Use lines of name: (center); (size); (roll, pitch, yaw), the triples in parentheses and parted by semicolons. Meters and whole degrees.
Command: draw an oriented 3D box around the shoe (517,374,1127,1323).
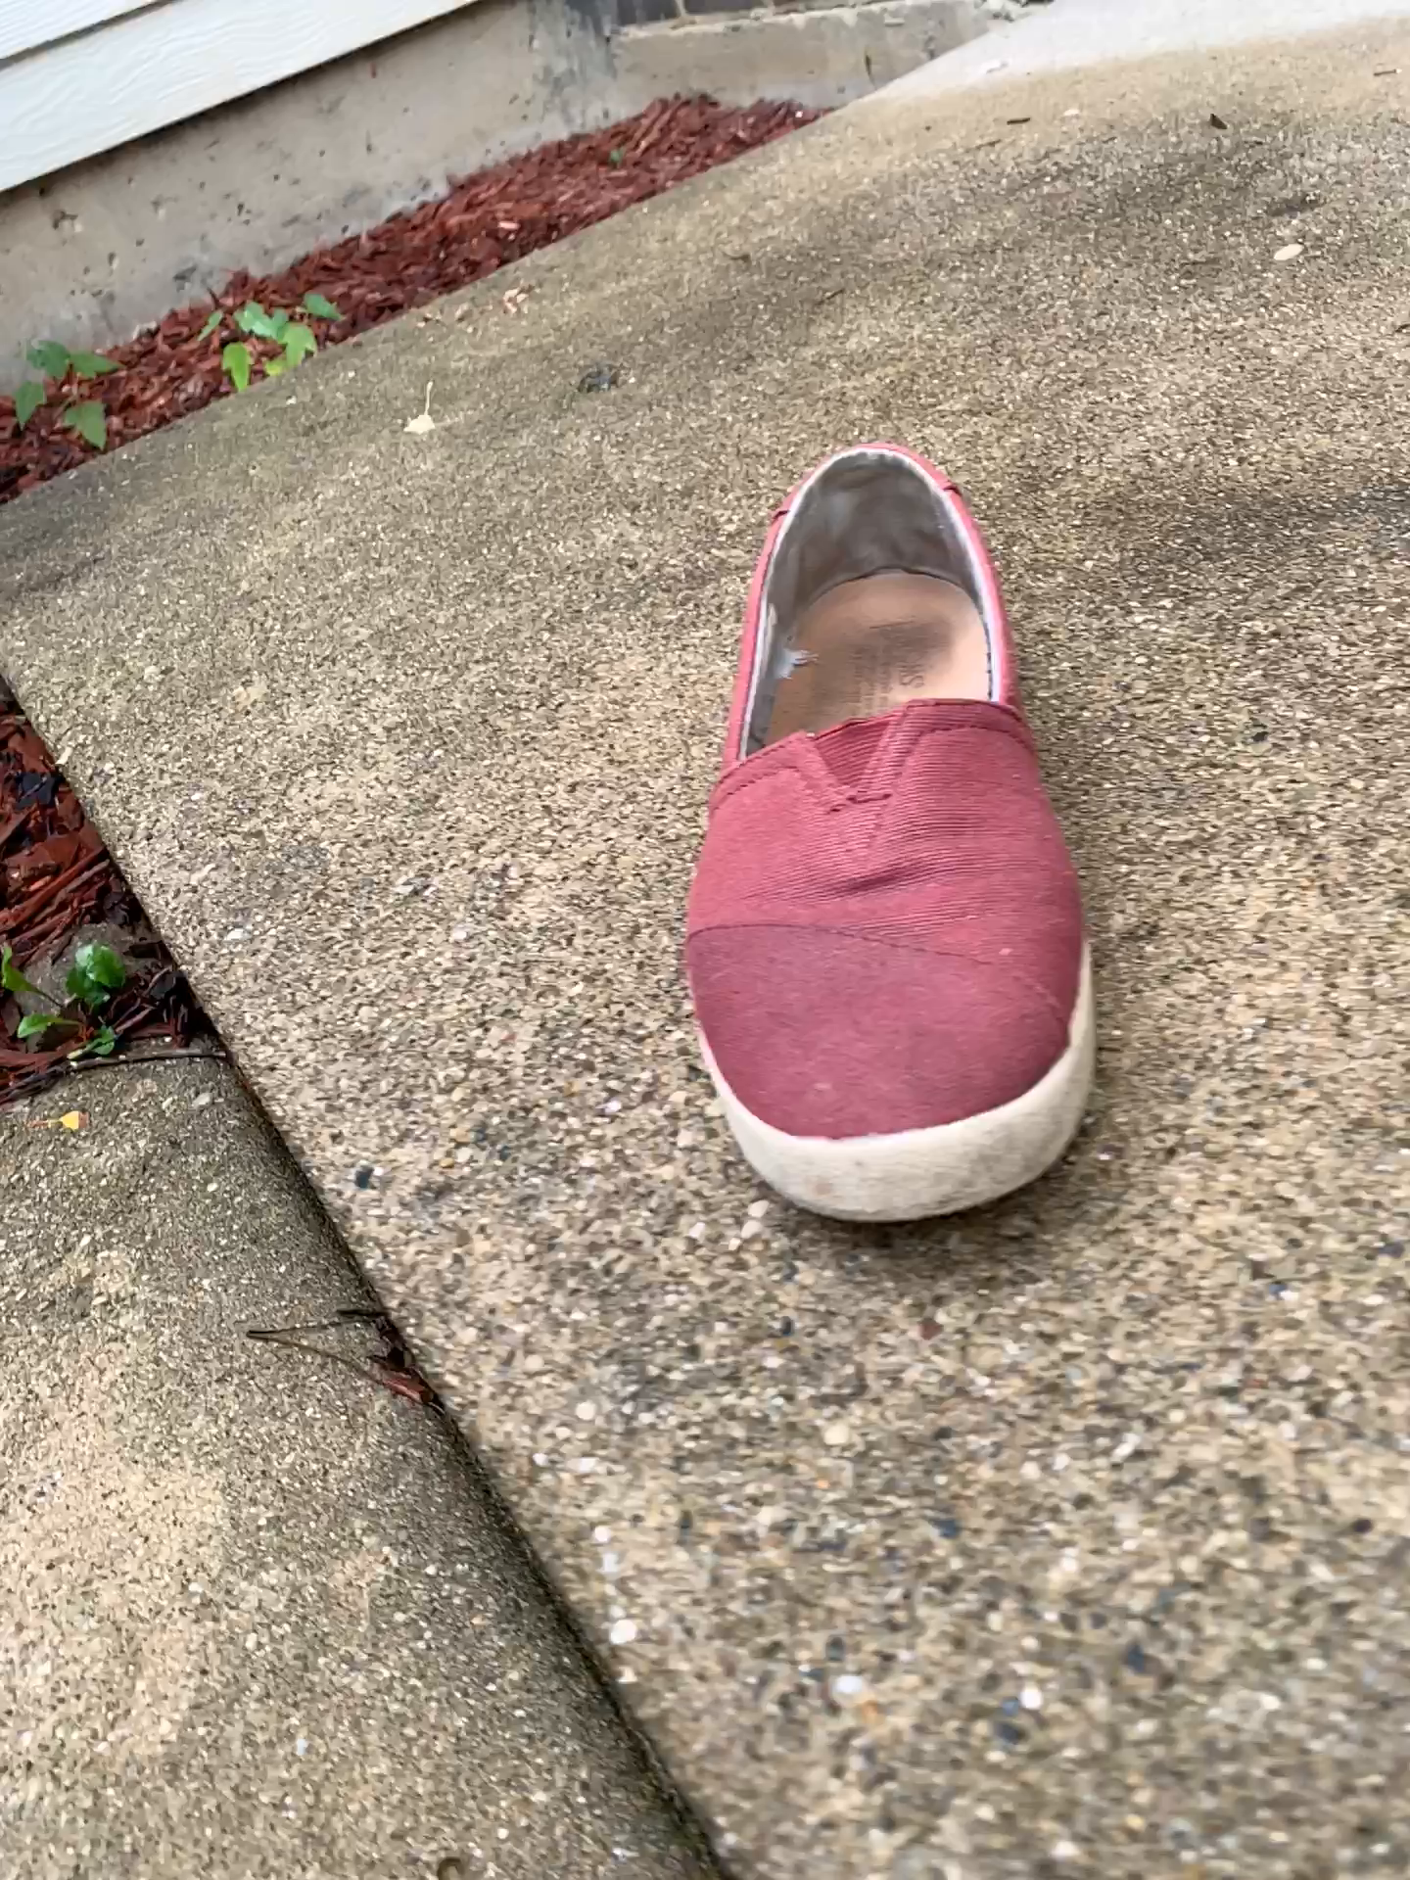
shoe: (0.043, -0.043, 0.373); (0.098, 0.089, 0.266); (-7, 39, 16)
